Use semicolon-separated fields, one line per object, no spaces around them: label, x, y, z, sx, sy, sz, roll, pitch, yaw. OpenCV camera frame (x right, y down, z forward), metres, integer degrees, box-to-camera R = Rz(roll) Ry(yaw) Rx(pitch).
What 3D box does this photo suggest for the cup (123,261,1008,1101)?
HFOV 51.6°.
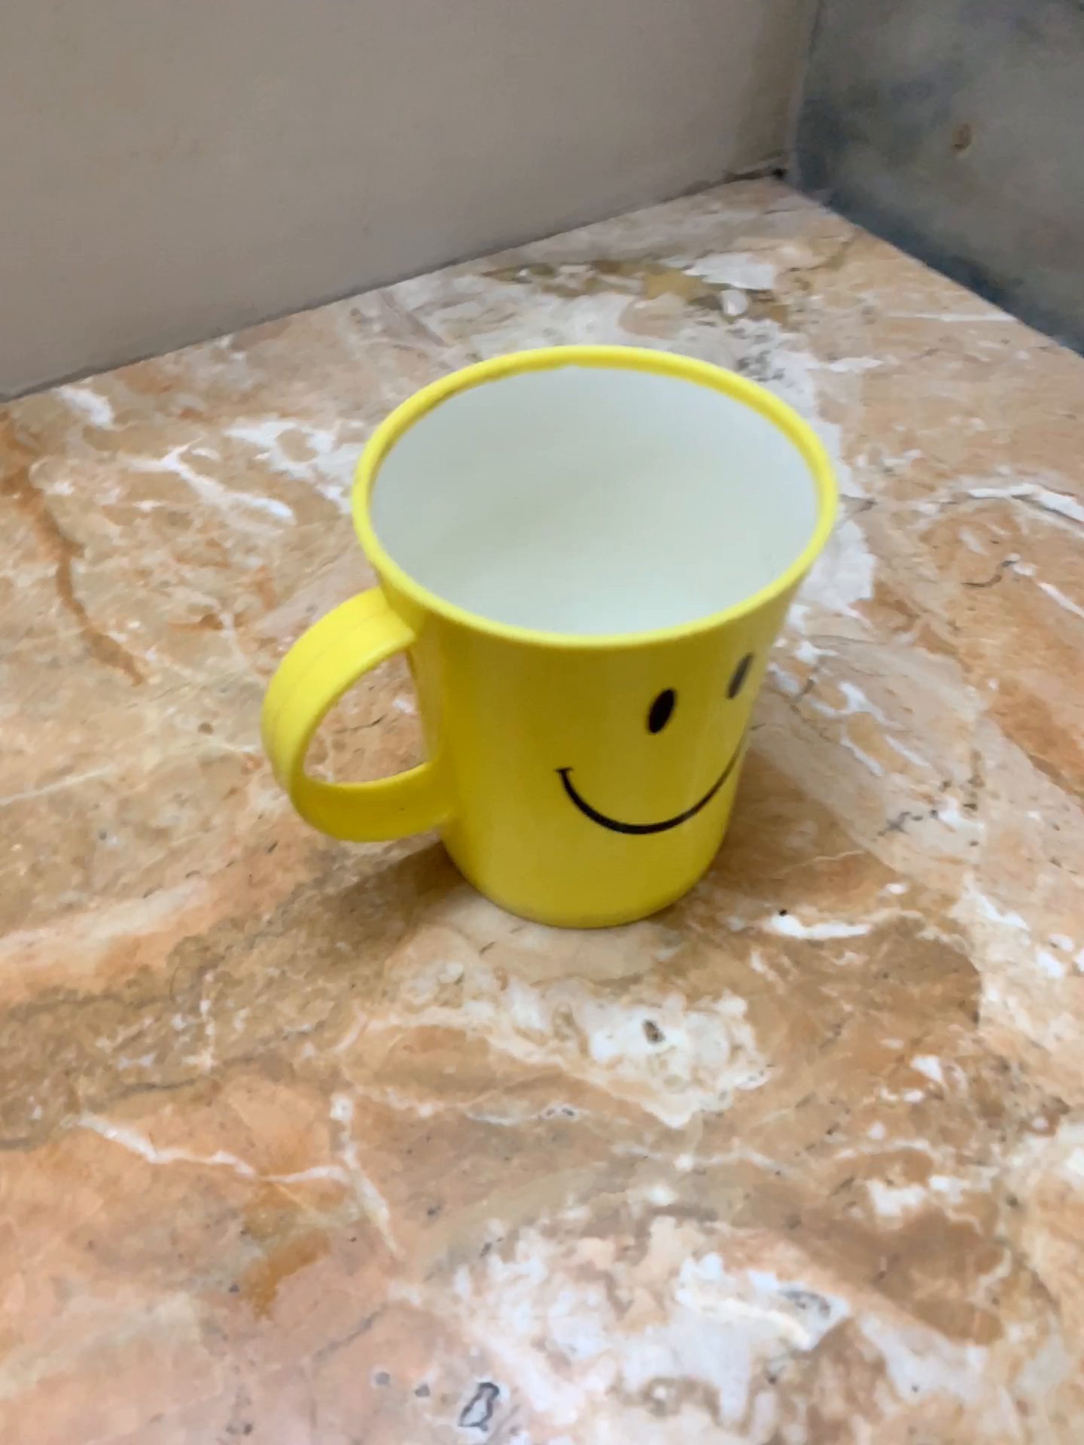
cup;0.004;-0.010;0.199;0.110;0.089;0.070;-27;54;-22
